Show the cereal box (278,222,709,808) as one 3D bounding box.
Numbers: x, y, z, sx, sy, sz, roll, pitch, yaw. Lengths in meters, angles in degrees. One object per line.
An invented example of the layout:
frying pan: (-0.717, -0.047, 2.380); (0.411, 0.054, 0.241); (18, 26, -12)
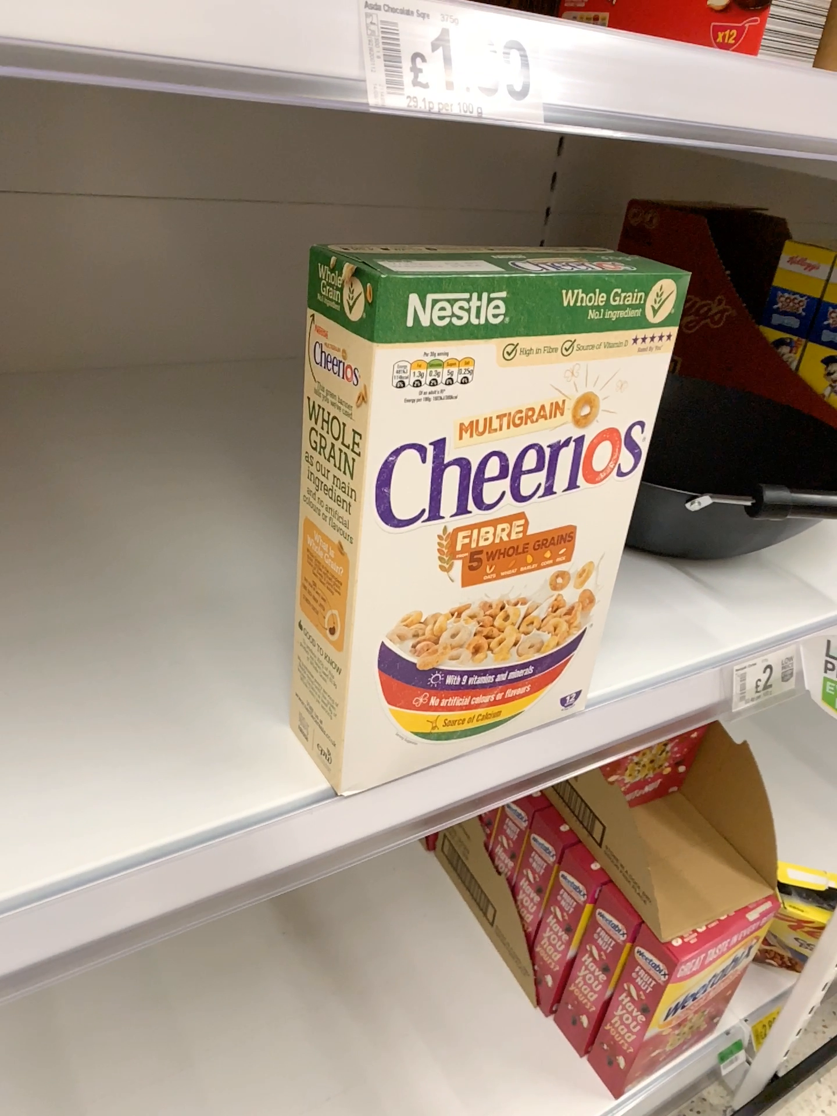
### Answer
cereal box: (0.033, -0.026, 0.479); (0.201, 0.287, 0.070); (-12, 32, -32)
